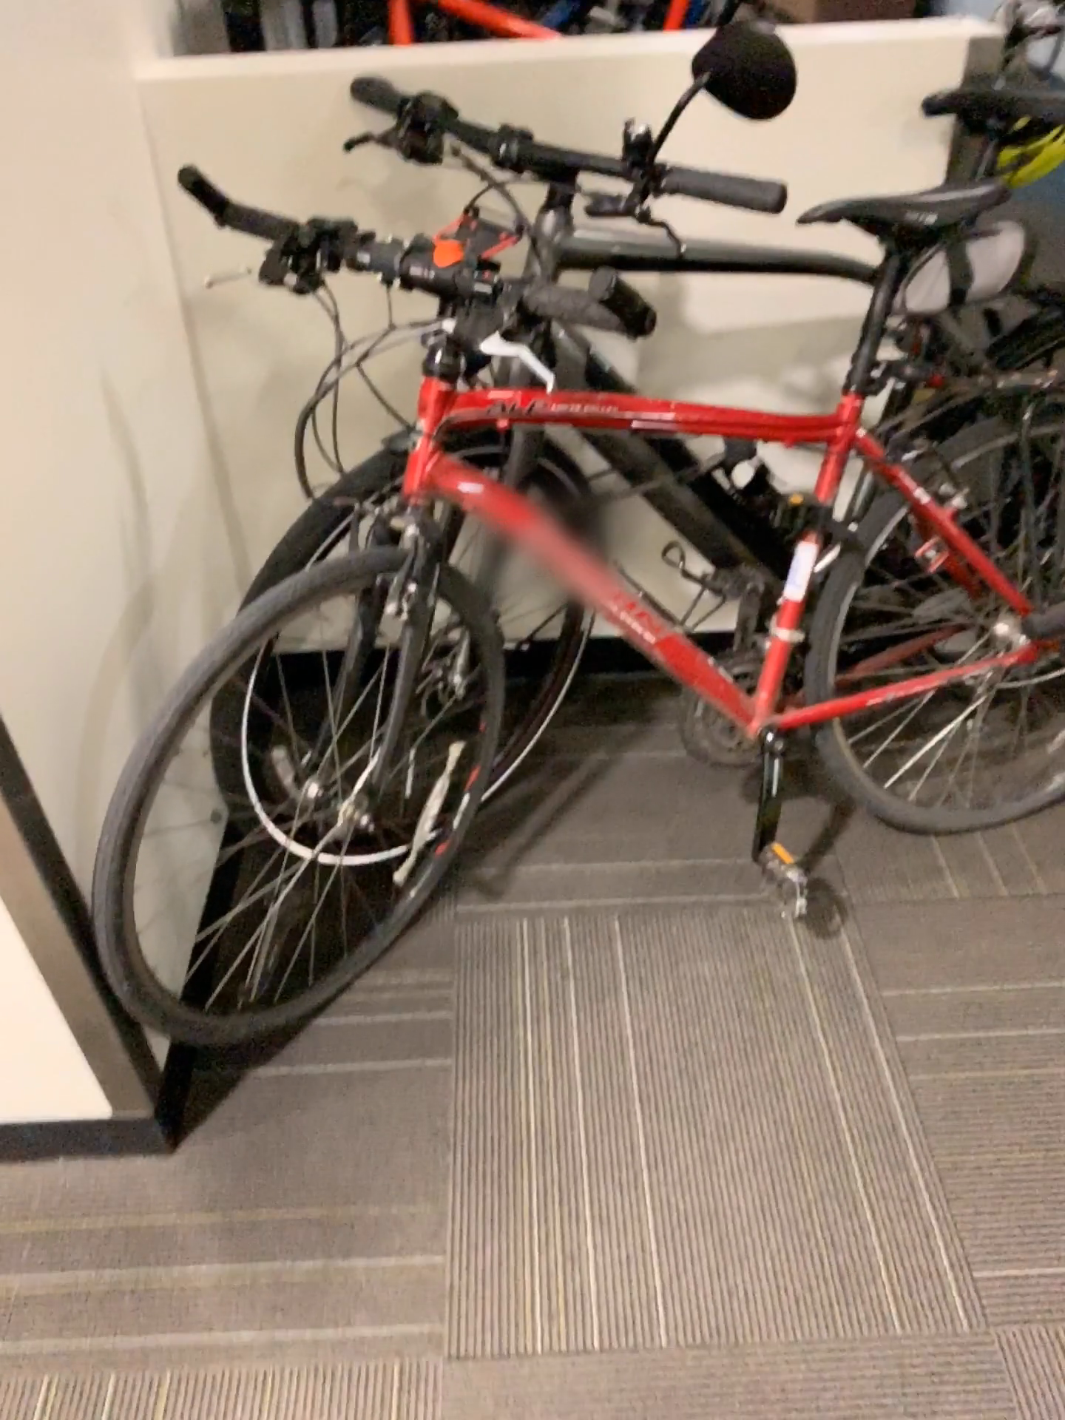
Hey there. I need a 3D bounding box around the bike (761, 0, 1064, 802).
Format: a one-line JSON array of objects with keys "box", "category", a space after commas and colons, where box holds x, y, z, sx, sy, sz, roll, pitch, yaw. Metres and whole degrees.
[{"box": [0.870, -0.526, 1.743, 0.726, 1.148, 0.696, -12, 40, -20], "category": "bike"}]

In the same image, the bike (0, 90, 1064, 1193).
[{"box": [0.265, -0.205, 1.406, 1.612, 0.927, 0.606, -14, 41, -20], "category": "bike"}]
